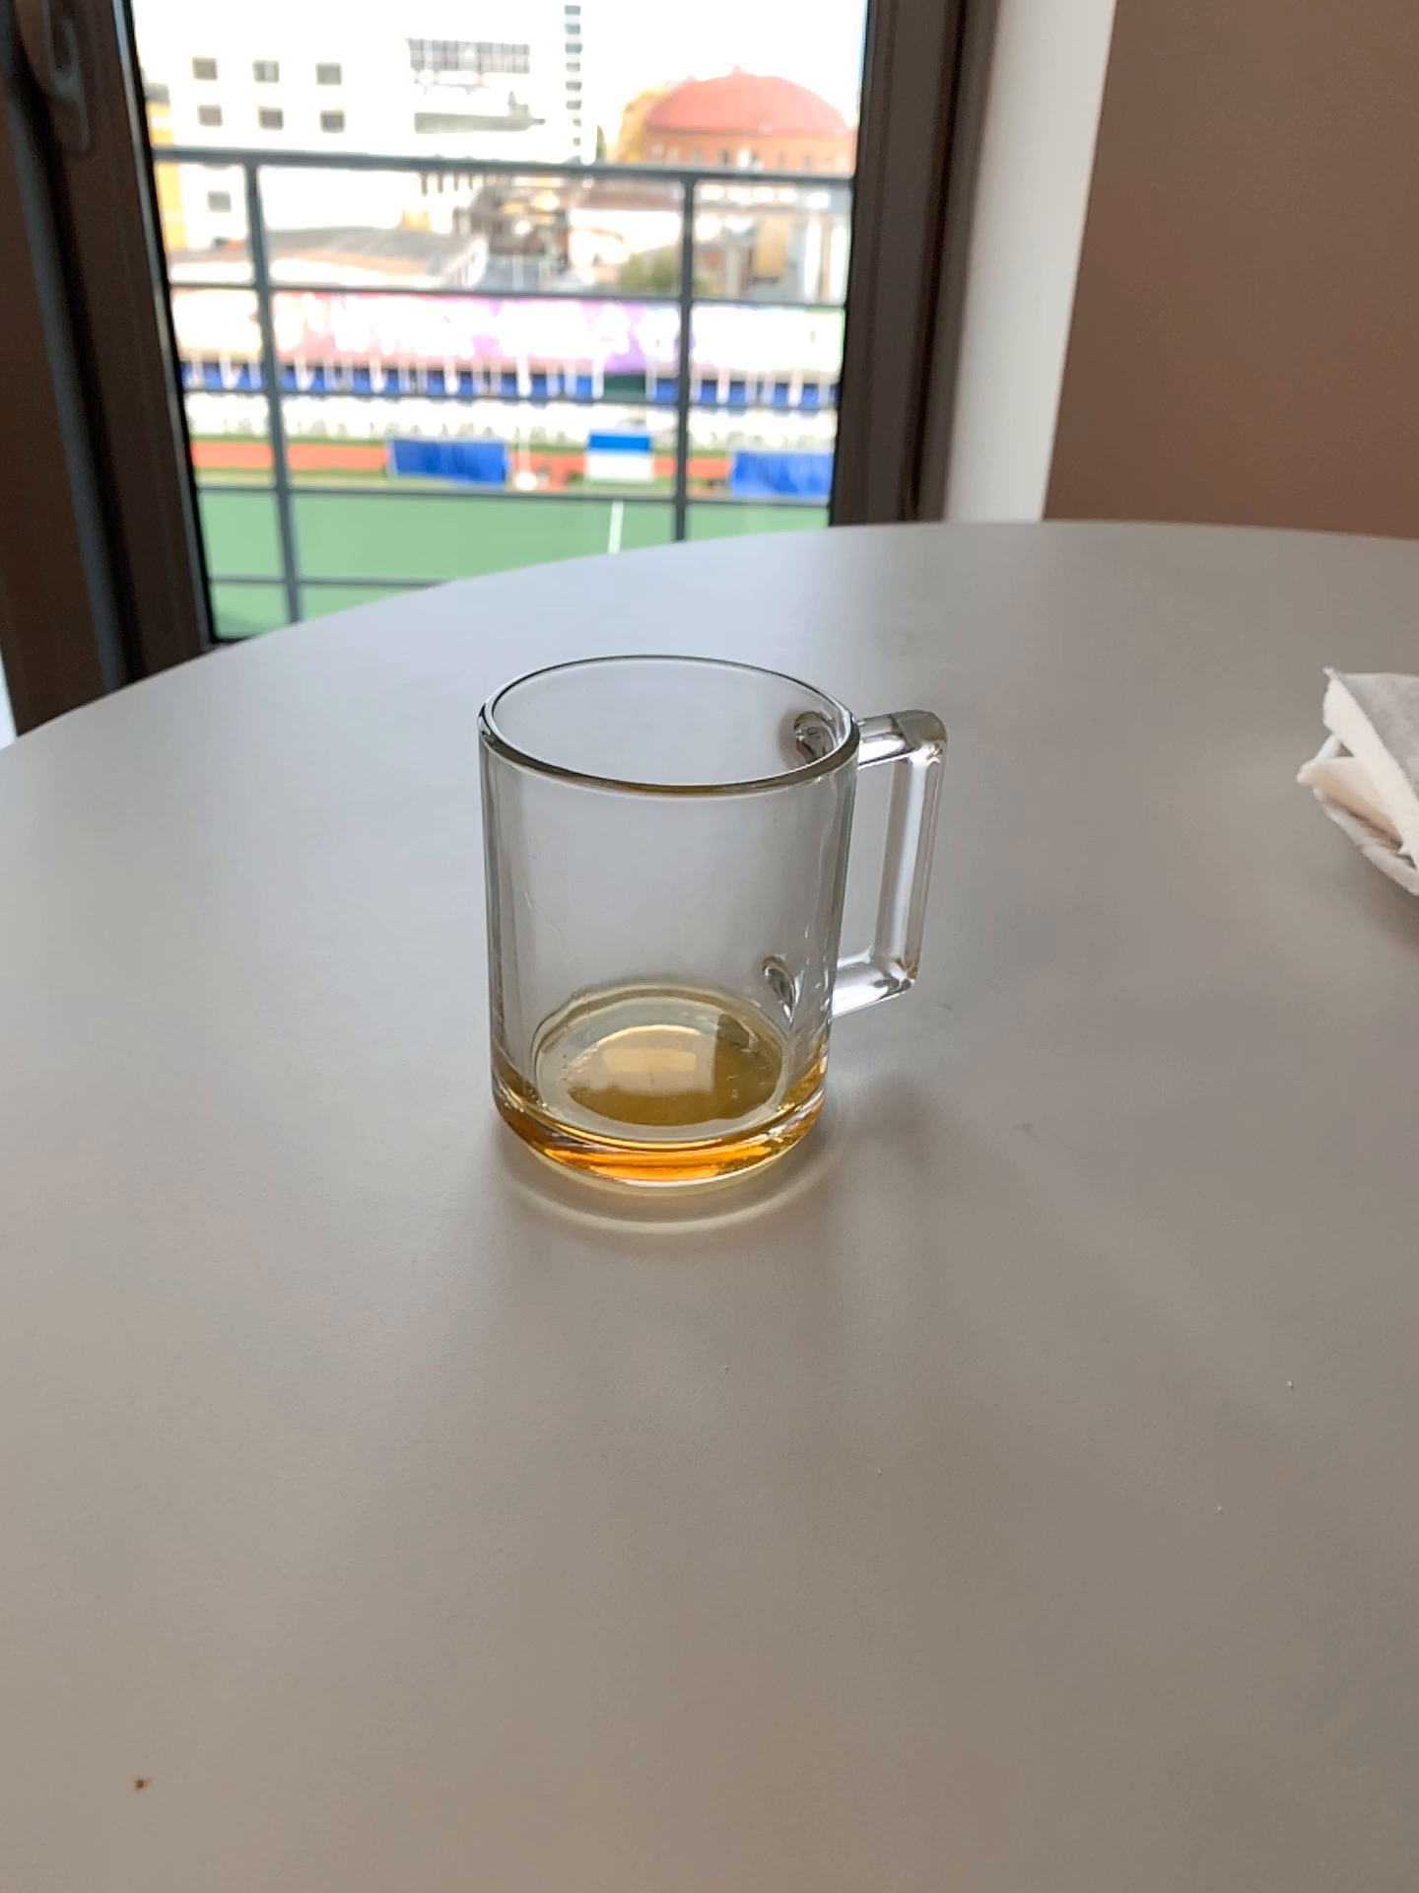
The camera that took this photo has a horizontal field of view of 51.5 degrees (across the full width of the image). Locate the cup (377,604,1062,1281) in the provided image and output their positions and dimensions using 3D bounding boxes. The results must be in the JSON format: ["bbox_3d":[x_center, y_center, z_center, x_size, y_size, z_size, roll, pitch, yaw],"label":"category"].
[{"bbox_3d":[-0.003,-0.008,0.294,0.101,0.090,0.082,-12,32,-23],"label":"cup"}]
